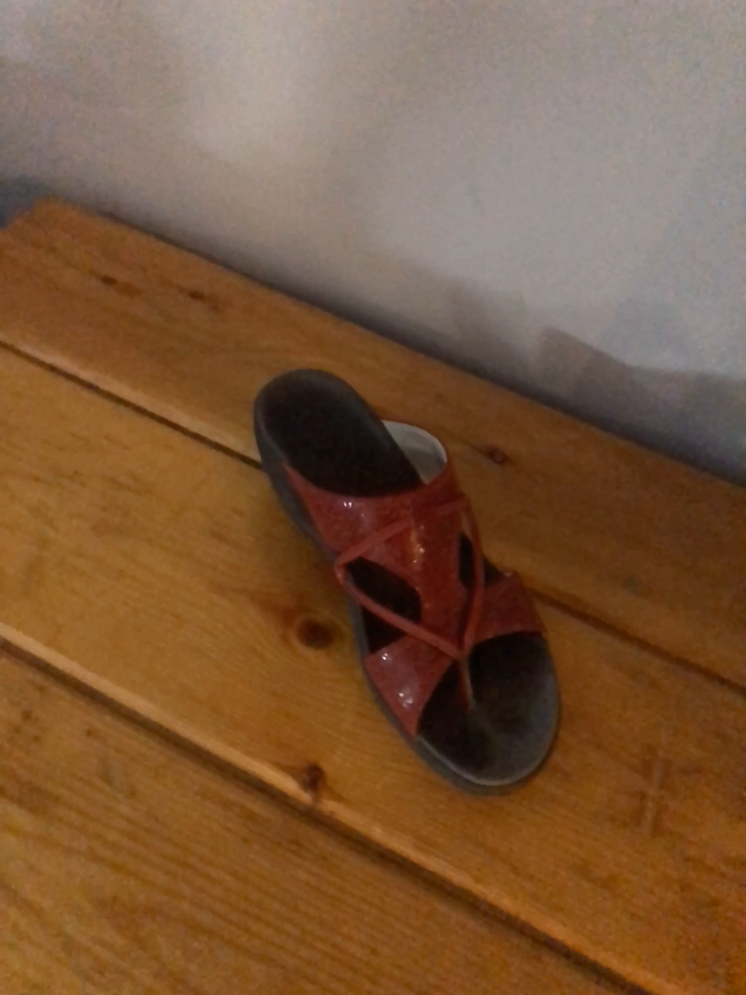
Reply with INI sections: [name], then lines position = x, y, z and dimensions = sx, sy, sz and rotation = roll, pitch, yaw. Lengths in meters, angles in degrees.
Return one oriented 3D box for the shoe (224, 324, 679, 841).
[shoe]
position = 0.023, 0.029, 0.425
dimensions = 0.100, 0.070, 0.250
rotation = -23, 60, -23
